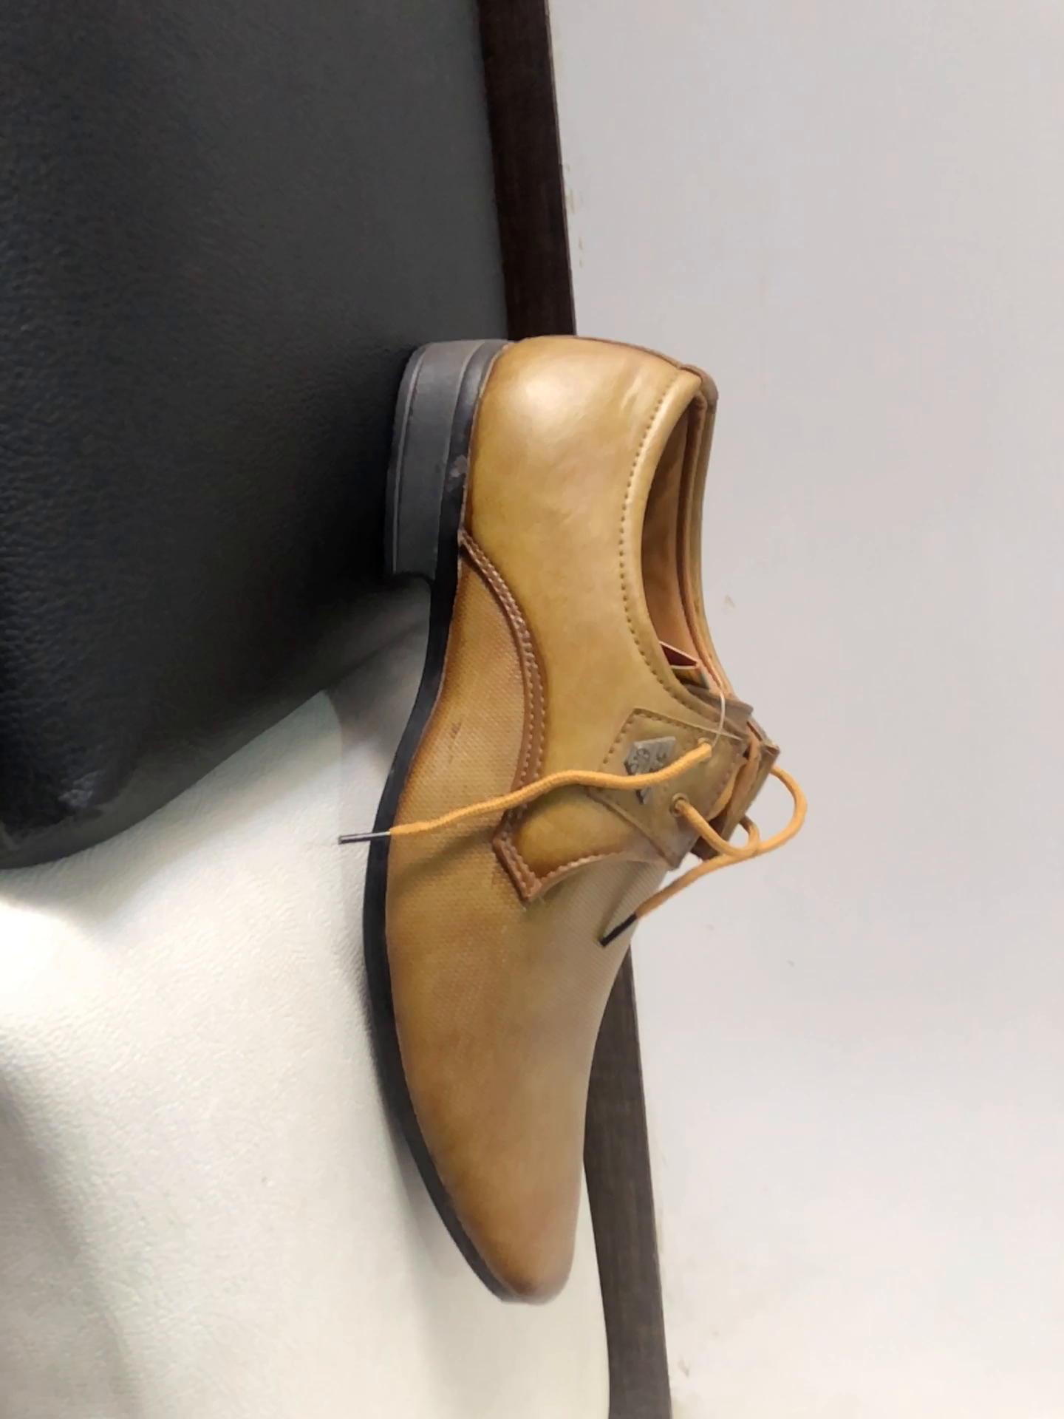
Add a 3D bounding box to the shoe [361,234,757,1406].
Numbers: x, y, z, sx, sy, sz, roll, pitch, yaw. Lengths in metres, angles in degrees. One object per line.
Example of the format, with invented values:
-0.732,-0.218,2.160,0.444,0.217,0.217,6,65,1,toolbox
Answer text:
0.014,0.028,0.352,0.101,0.090,0.290,-2,91,-73,shoe
